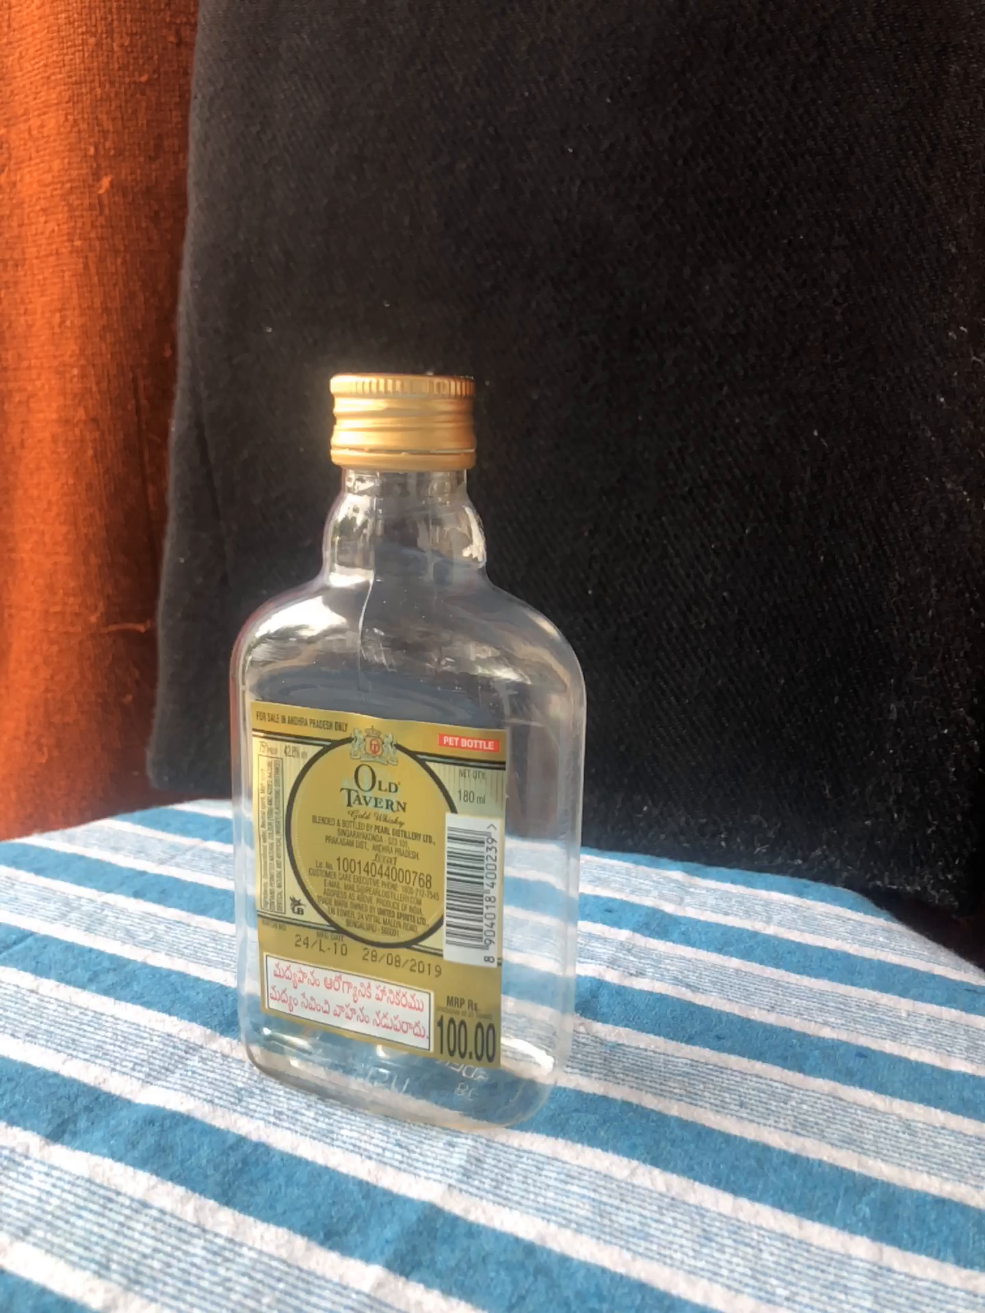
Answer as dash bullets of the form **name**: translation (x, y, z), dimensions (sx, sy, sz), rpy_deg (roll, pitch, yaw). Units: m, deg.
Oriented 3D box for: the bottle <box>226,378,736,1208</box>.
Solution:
- **bottle**: translation (-0.004, 0.021, 0.210), dimensions (0.080, 0.140, 0.040), rpy_deg (8, 16, 20)
